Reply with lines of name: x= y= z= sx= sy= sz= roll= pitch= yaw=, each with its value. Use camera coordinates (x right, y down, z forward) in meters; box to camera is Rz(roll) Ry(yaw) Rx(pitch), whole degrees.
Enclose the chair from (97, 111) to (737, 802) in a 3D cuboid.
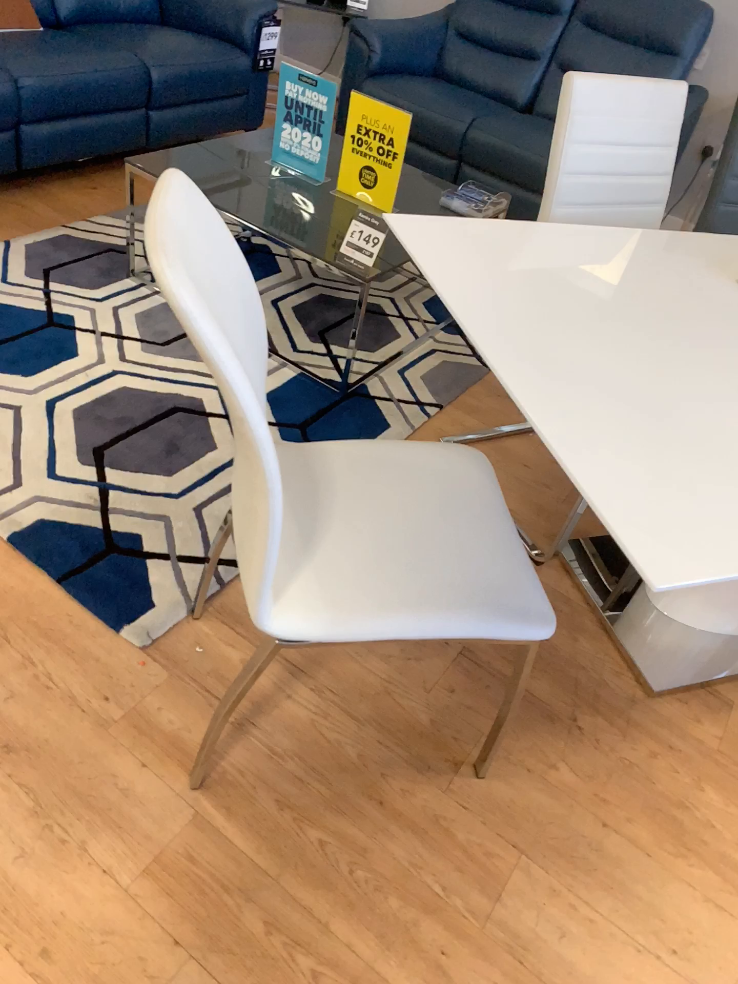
chair: x=-0.014 y=0.019 z=1.148 sx=0.670 sy=0.882 sz=0.495 roll=4 pitch=42 yaw=-13
